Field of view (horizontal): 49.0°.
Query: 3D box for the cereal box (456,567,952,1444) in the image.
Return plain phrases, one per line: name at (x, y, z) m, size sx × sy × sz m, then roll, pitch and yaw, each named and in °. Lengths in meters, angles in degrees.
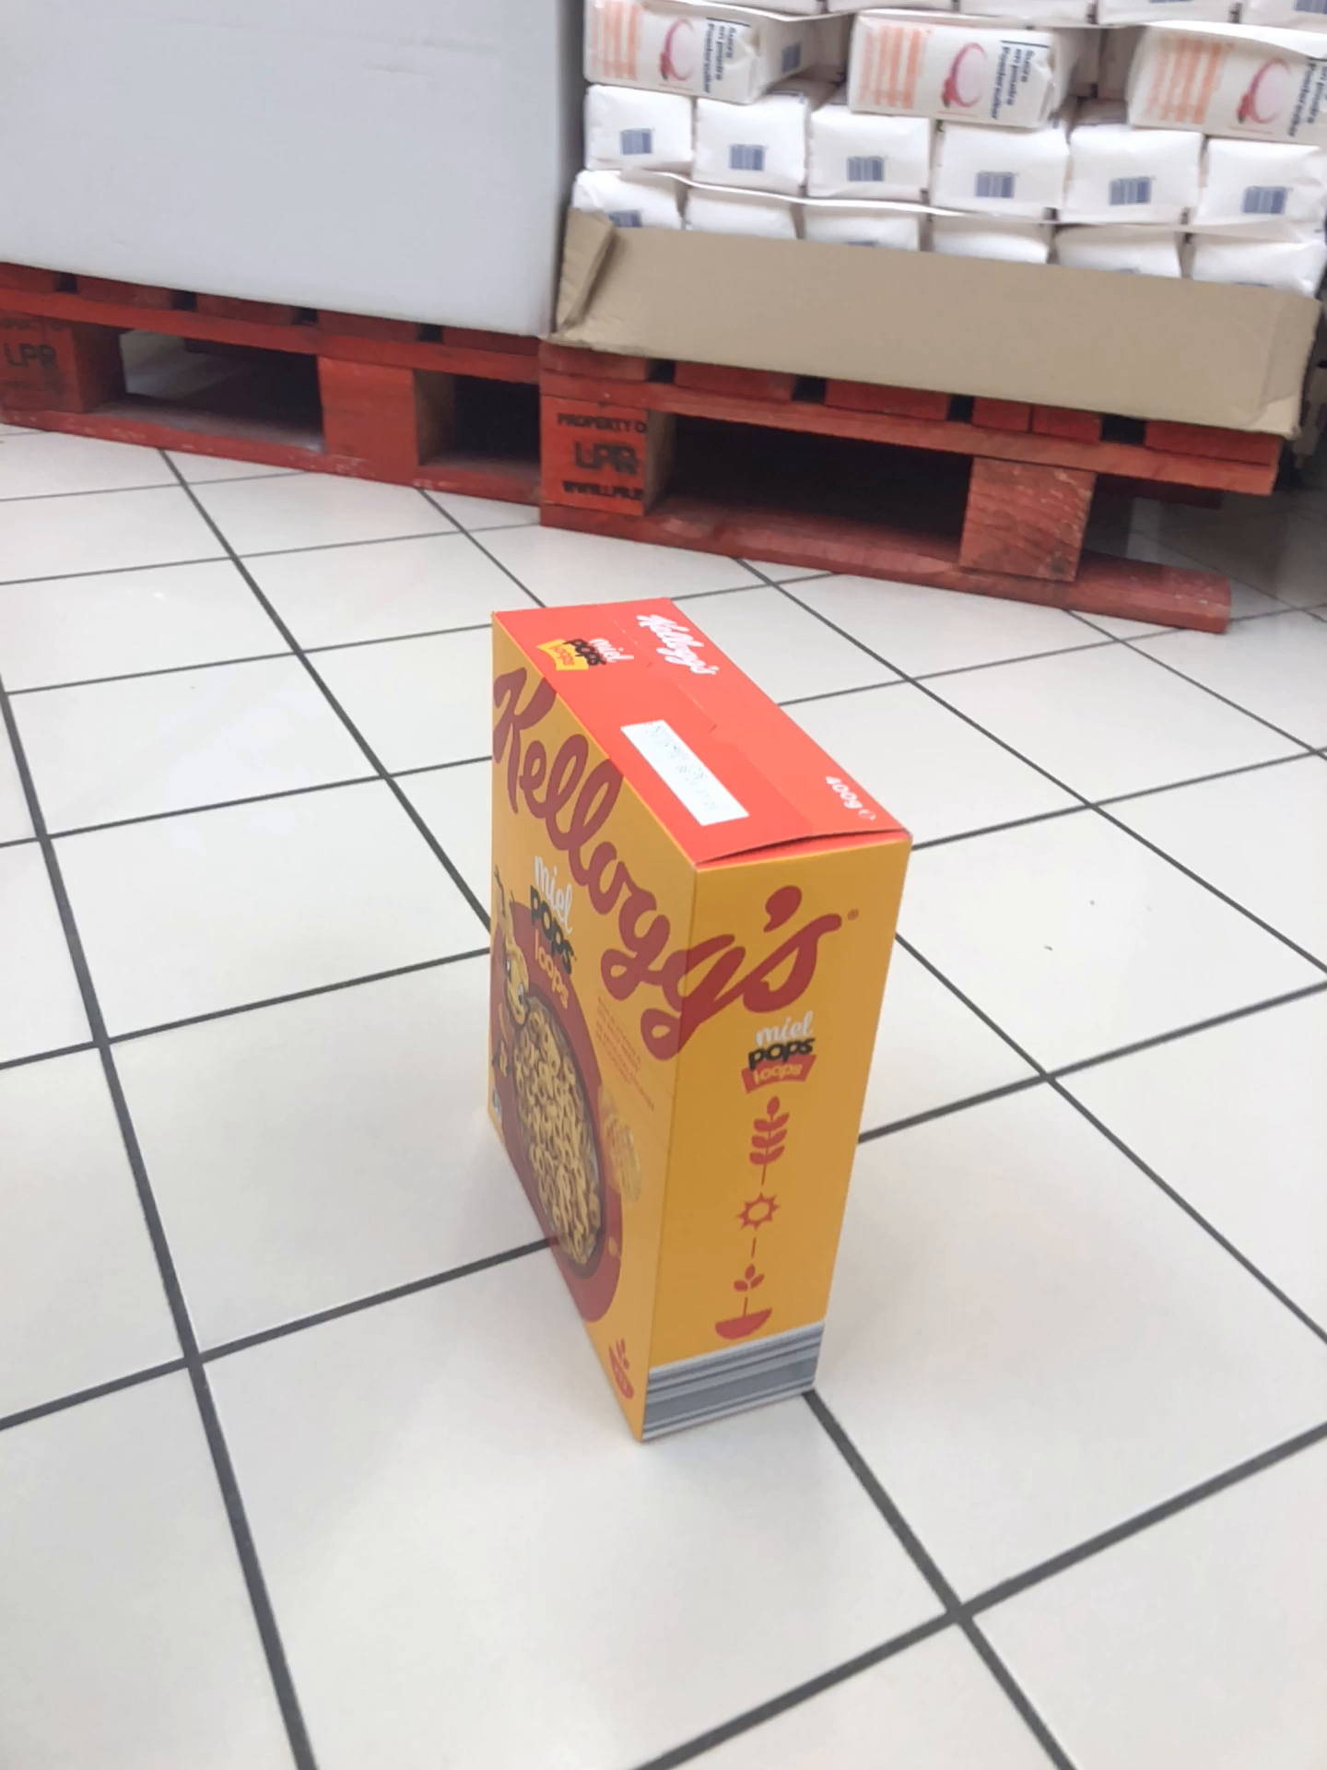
cereal box at (-0.003, 0.036, 0.530) m, size 0.090 × 0.239 × 0.191 m, roll -10°, pitch 35°, yaw -21°
